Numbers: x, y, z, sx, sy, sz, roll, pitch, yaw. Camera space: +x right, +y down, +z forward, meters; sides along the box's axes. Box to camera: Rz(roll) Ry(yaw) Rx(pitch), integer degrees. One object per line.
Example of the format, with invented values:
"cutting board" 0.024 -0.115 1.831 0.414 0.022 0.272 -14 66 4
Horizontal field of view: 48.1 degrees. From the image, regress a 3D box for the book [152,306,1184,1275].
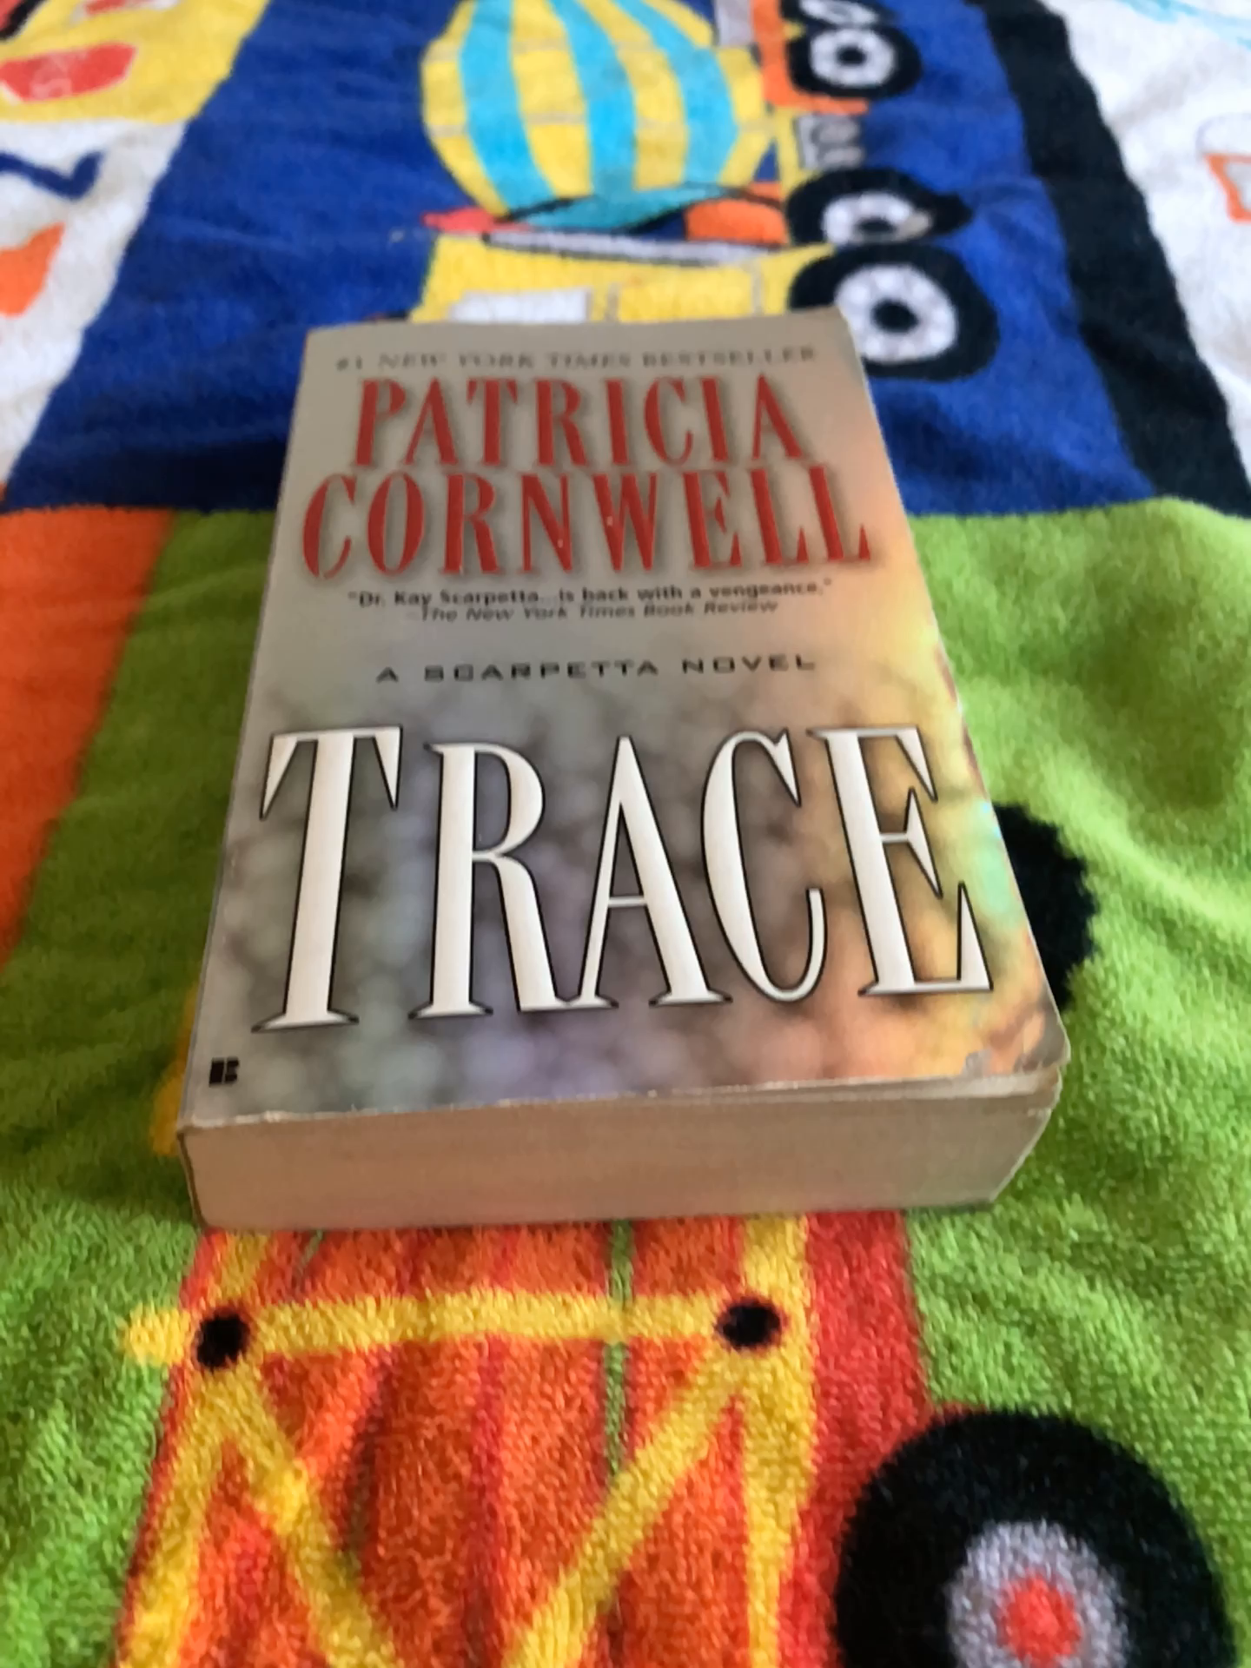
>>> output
"book" 0.000 -0.023 0.236 0.120 0.040 0.181 0 49 -5
